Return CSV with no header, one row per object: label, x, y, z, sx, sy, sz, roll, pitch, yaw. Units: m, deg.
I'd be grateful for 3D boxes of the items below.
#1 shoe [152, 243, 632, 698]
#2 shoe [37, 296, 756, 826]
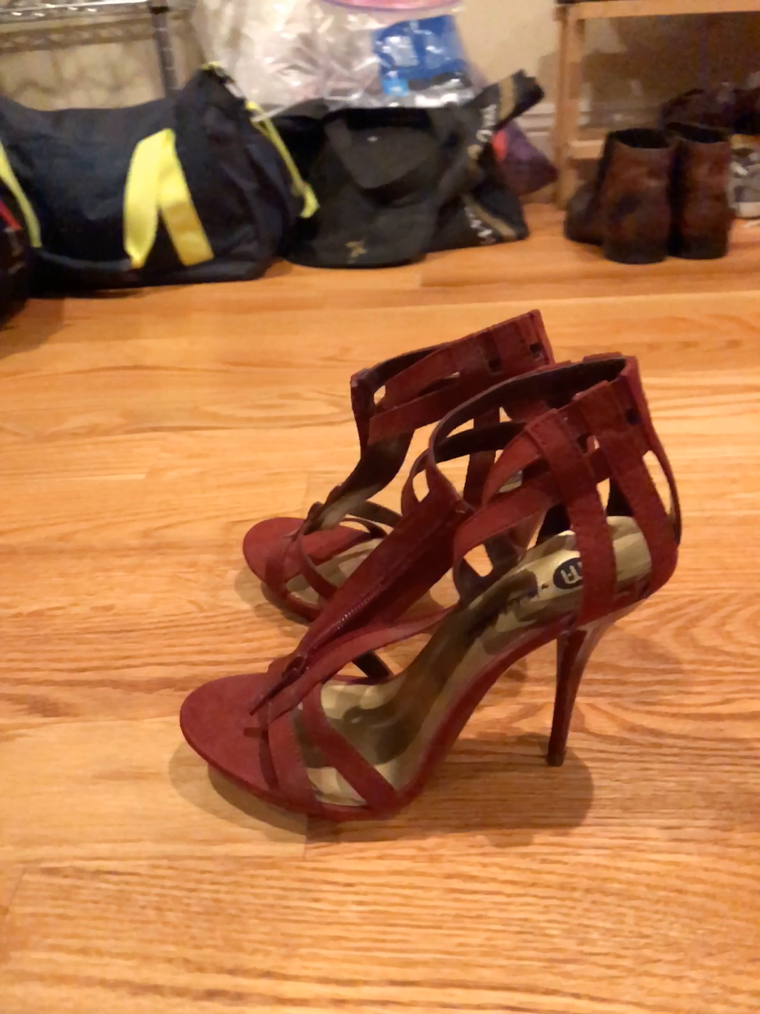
shoe,0.007,-0.027,0.418,0.199,0.175,0.085,12,32,25
shoe,0.008,0.023,0.319,0.206,0.175,0.085,-2,29,2
